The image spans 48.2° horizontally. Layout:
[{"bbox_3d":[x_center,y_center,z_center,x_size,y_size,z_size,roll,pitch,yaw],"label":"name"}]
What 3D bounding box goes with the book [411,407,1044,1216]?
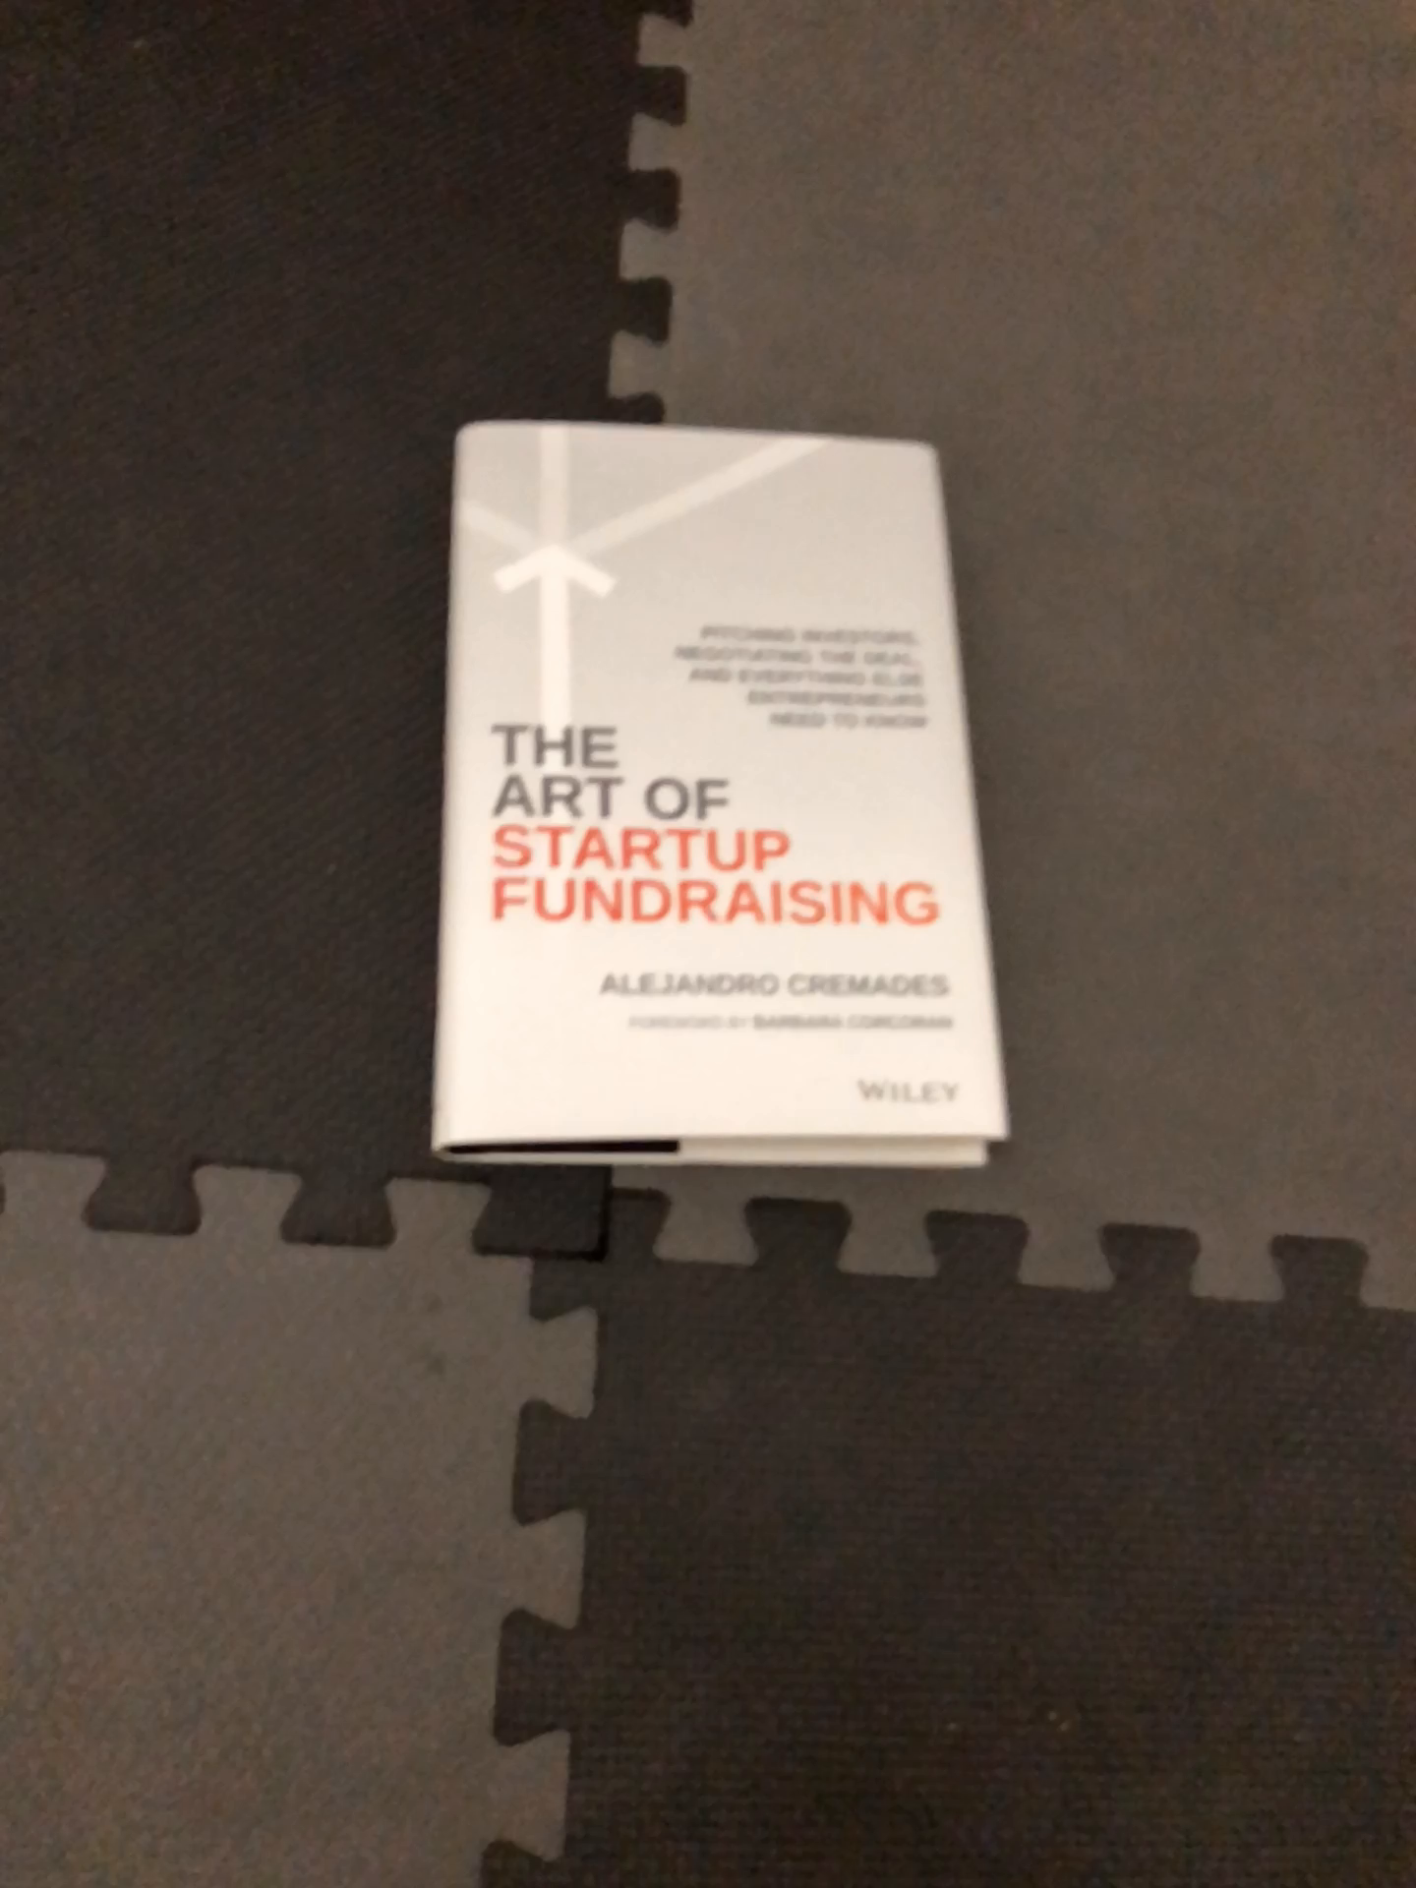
[{"bbox_3d":[0.004,-0.046,0.481,0.170,0.030,0.251,2,68,-7],"label":"book"}]
